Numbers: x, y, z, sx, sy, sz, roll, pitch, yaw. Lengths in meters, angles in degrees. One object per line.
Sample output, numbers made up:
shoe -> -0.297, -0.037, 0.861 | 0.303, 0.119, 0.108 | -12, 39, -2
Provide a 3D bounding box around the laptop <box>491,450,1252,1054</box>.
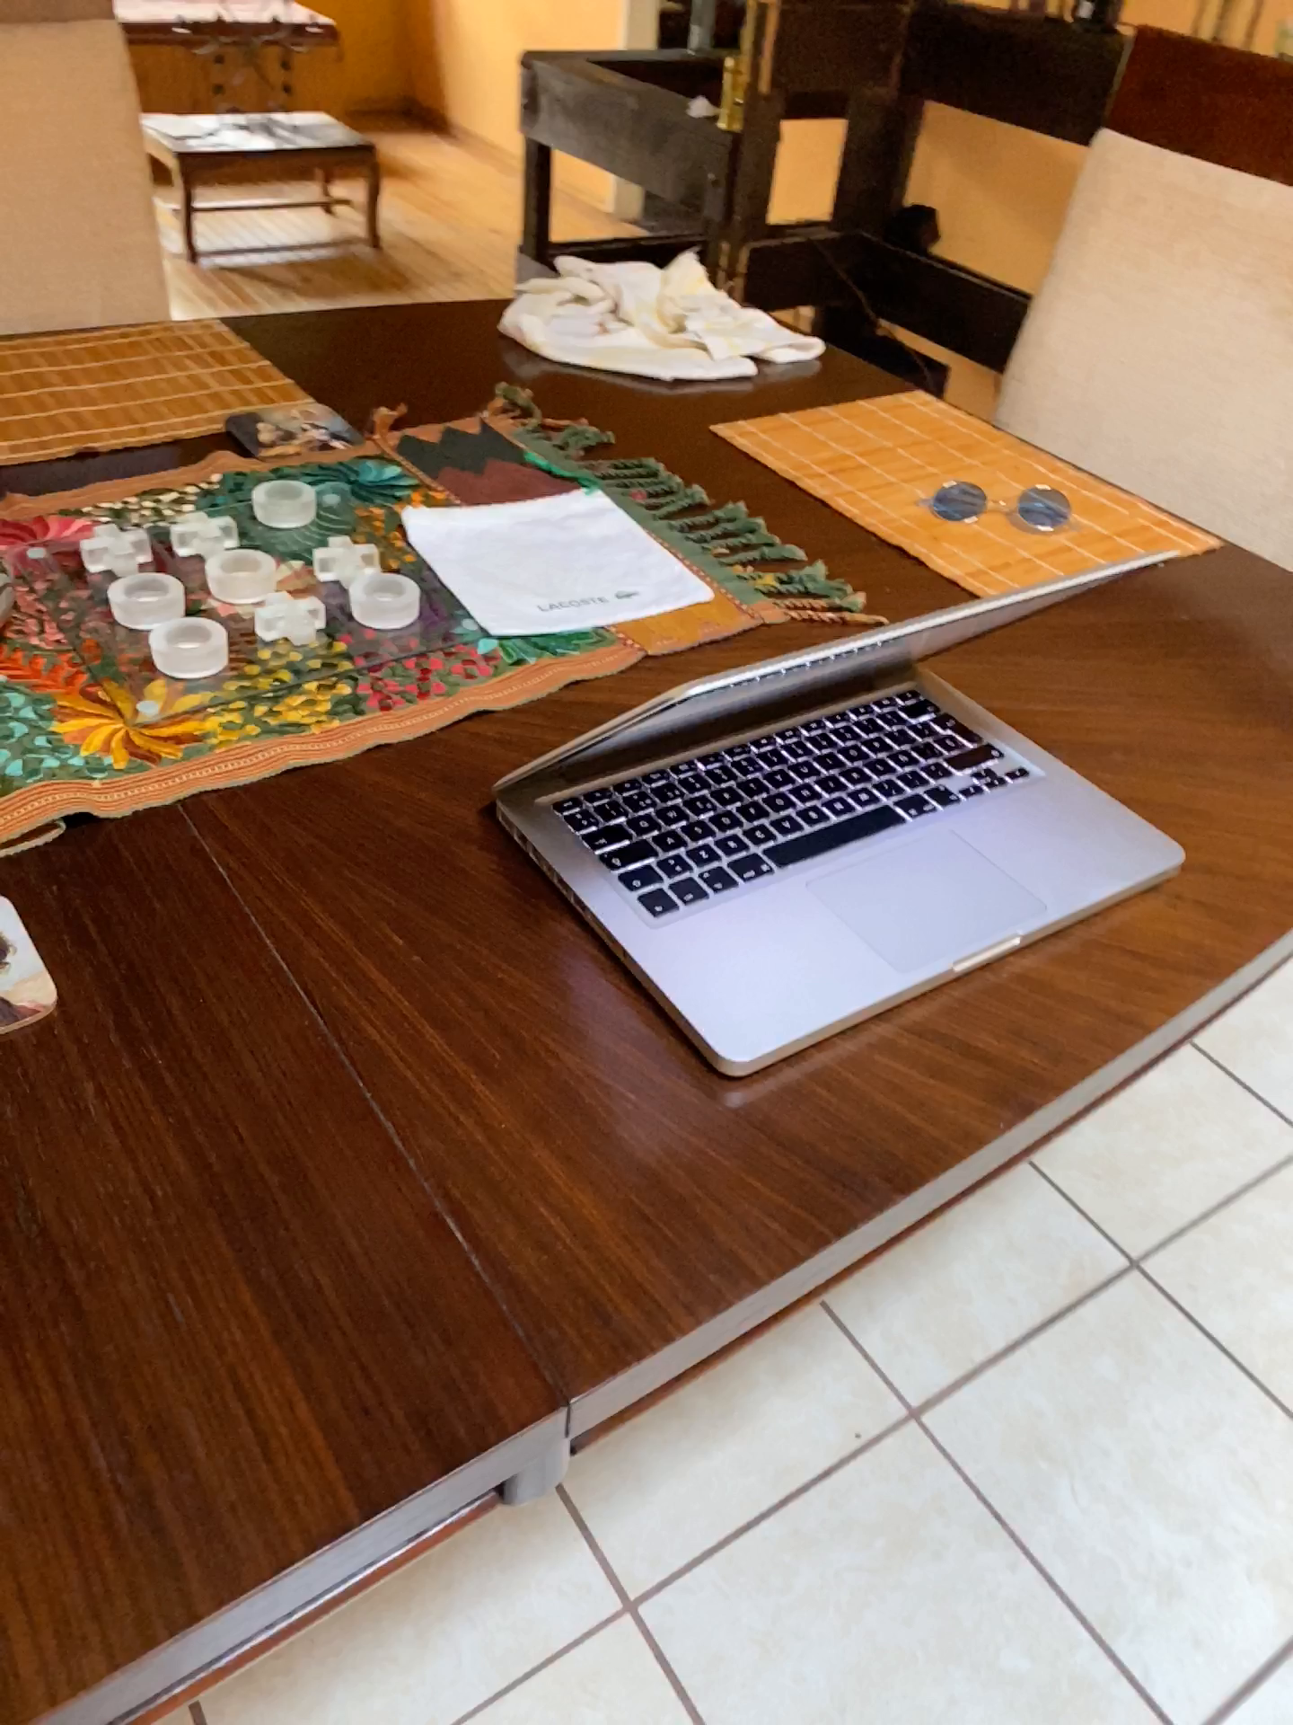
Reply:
laptop -> 0.111, -0.081, 0.703 | 0.322, 0.152, 0.213 | -21, 46, -30
